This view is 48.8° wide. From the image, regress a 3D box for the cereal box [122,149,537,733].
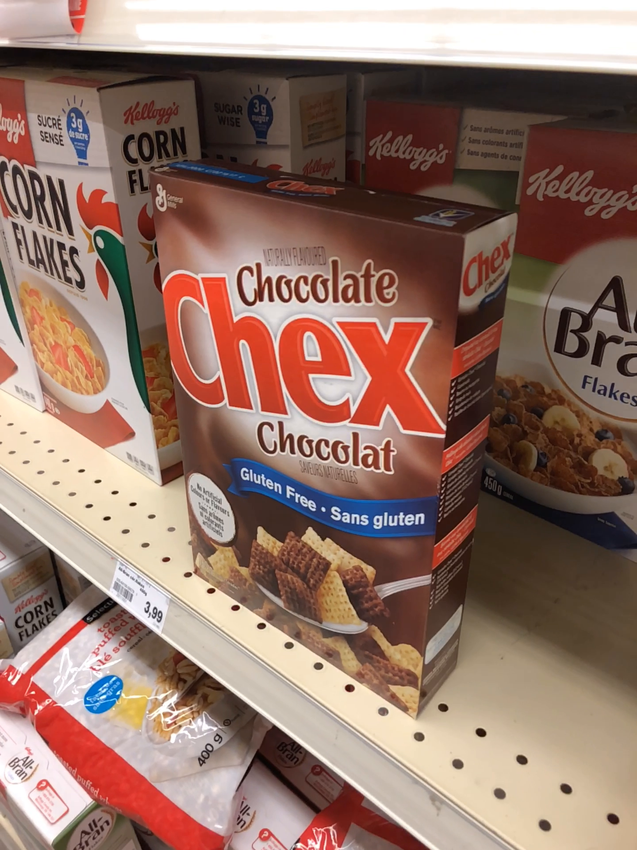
[{"bbox_3d":[-0.006,0.006,0.396,0.211,0.278,0.050,23,38,35],"label":"cereal box"}]
